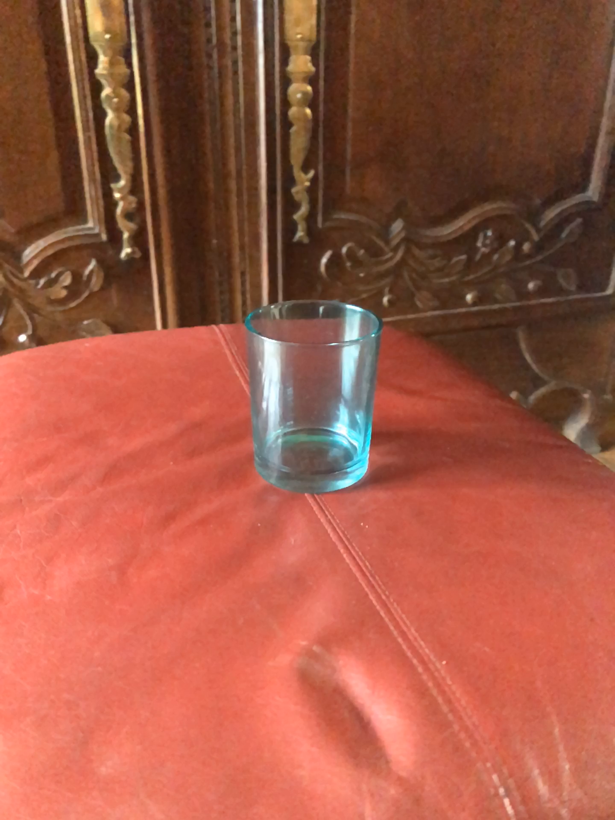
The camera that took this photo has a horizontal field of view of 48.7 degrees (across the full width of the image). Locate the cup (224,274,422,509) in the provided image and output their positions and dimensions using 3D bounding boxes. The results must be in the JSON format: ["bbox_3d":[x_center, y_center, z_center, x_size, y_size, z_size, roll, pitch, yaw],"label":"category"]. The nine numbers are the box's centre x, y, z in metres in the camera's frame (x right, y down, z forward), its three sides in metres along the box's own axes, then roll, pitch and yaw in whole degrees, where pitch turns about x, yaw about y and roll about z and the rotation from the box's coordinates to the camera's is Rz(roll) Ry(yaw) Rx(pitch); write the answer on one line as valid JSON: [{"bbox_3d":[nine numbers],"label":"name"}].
[{"bbox_3d":[0.008,-0.014,0.358,0.070,0.089,0.070,1,27,0],"label":"cup"}]
